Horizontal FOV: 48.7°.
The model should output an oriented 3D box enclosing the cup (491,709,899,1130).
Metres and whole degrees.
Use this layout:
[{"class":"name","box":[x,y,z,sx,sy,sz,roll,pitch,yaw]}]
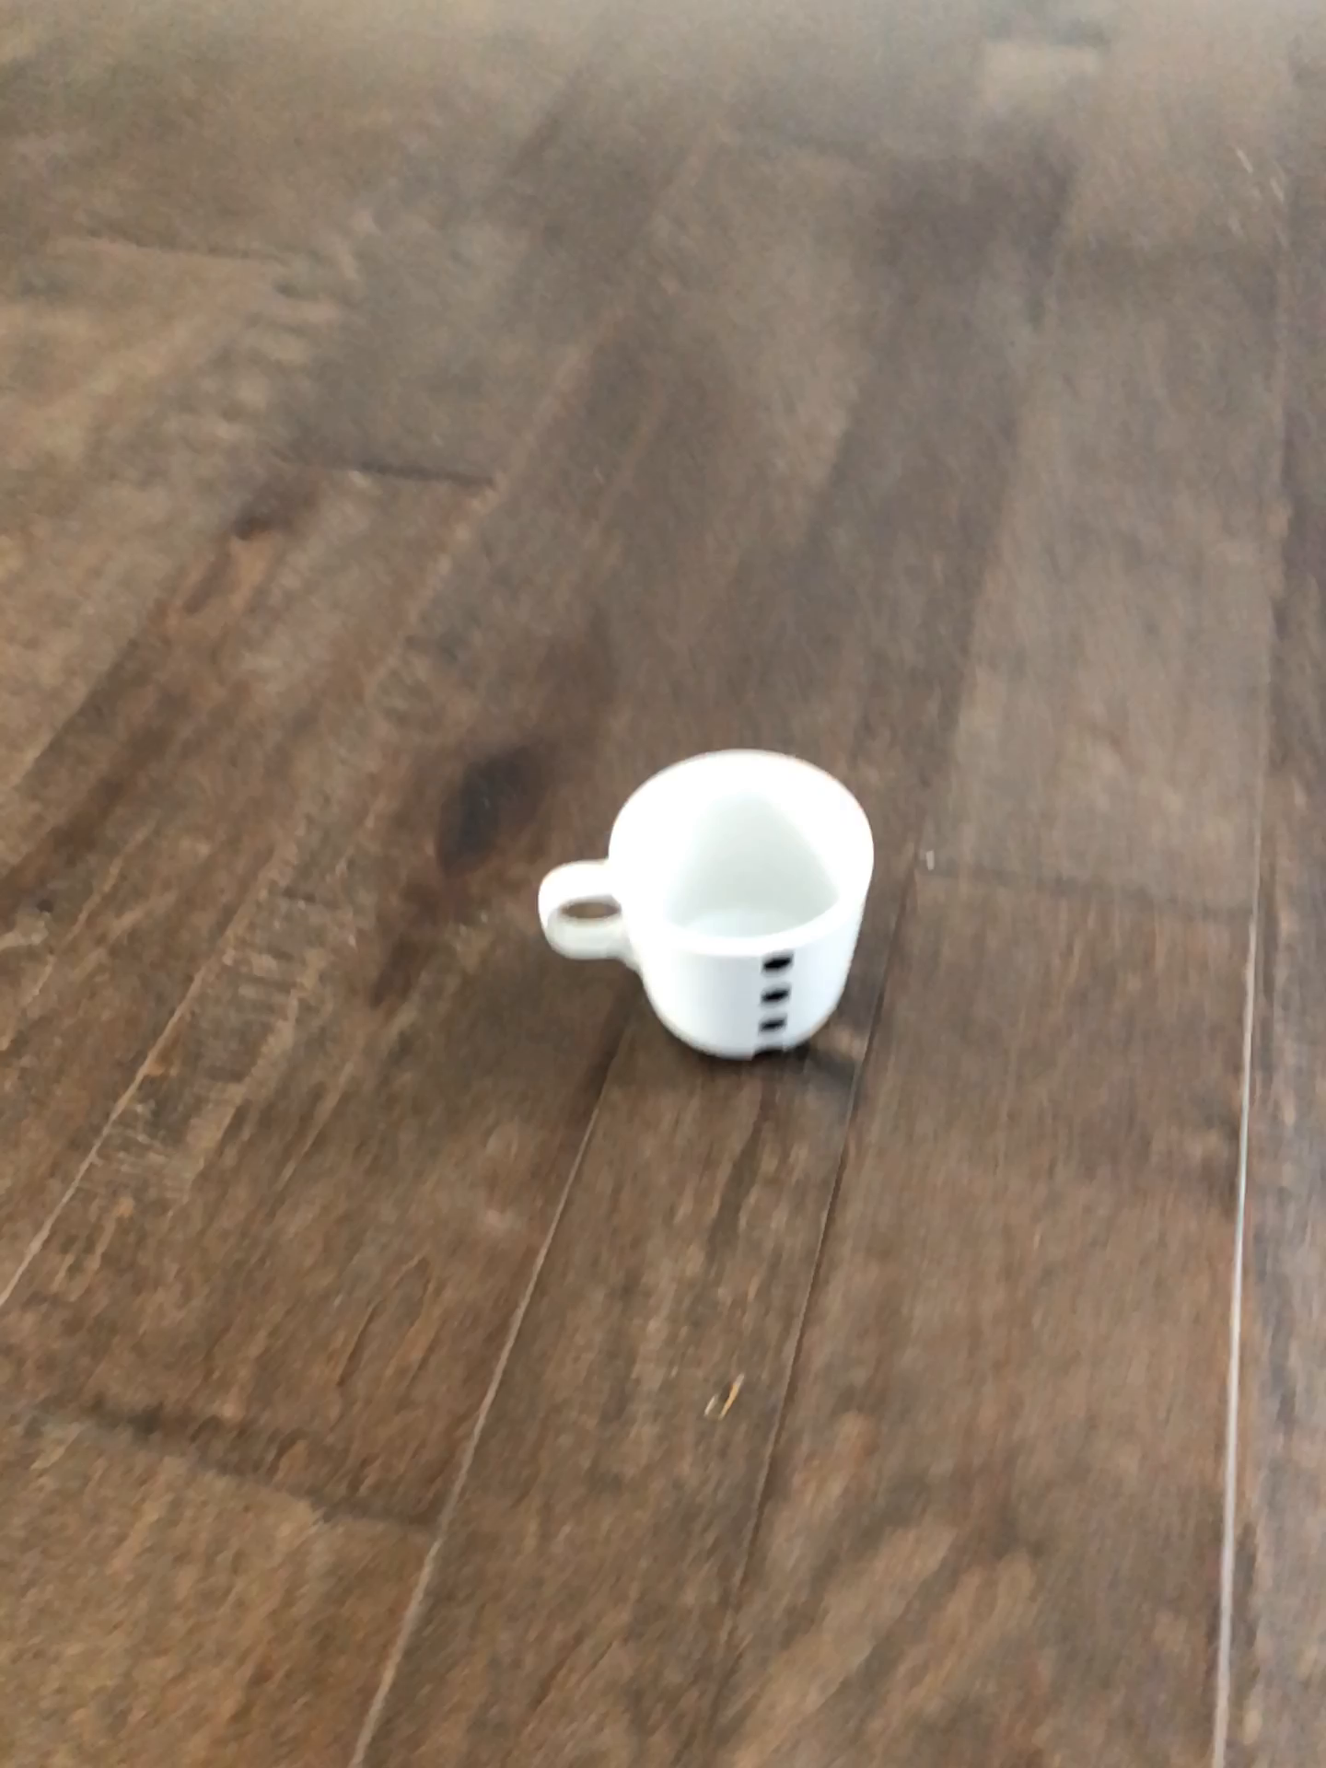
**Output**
[{"class":"cup","box":[0.009,0.011,0.493,0.110,0.079,0.091,-13,49,-7]}]
